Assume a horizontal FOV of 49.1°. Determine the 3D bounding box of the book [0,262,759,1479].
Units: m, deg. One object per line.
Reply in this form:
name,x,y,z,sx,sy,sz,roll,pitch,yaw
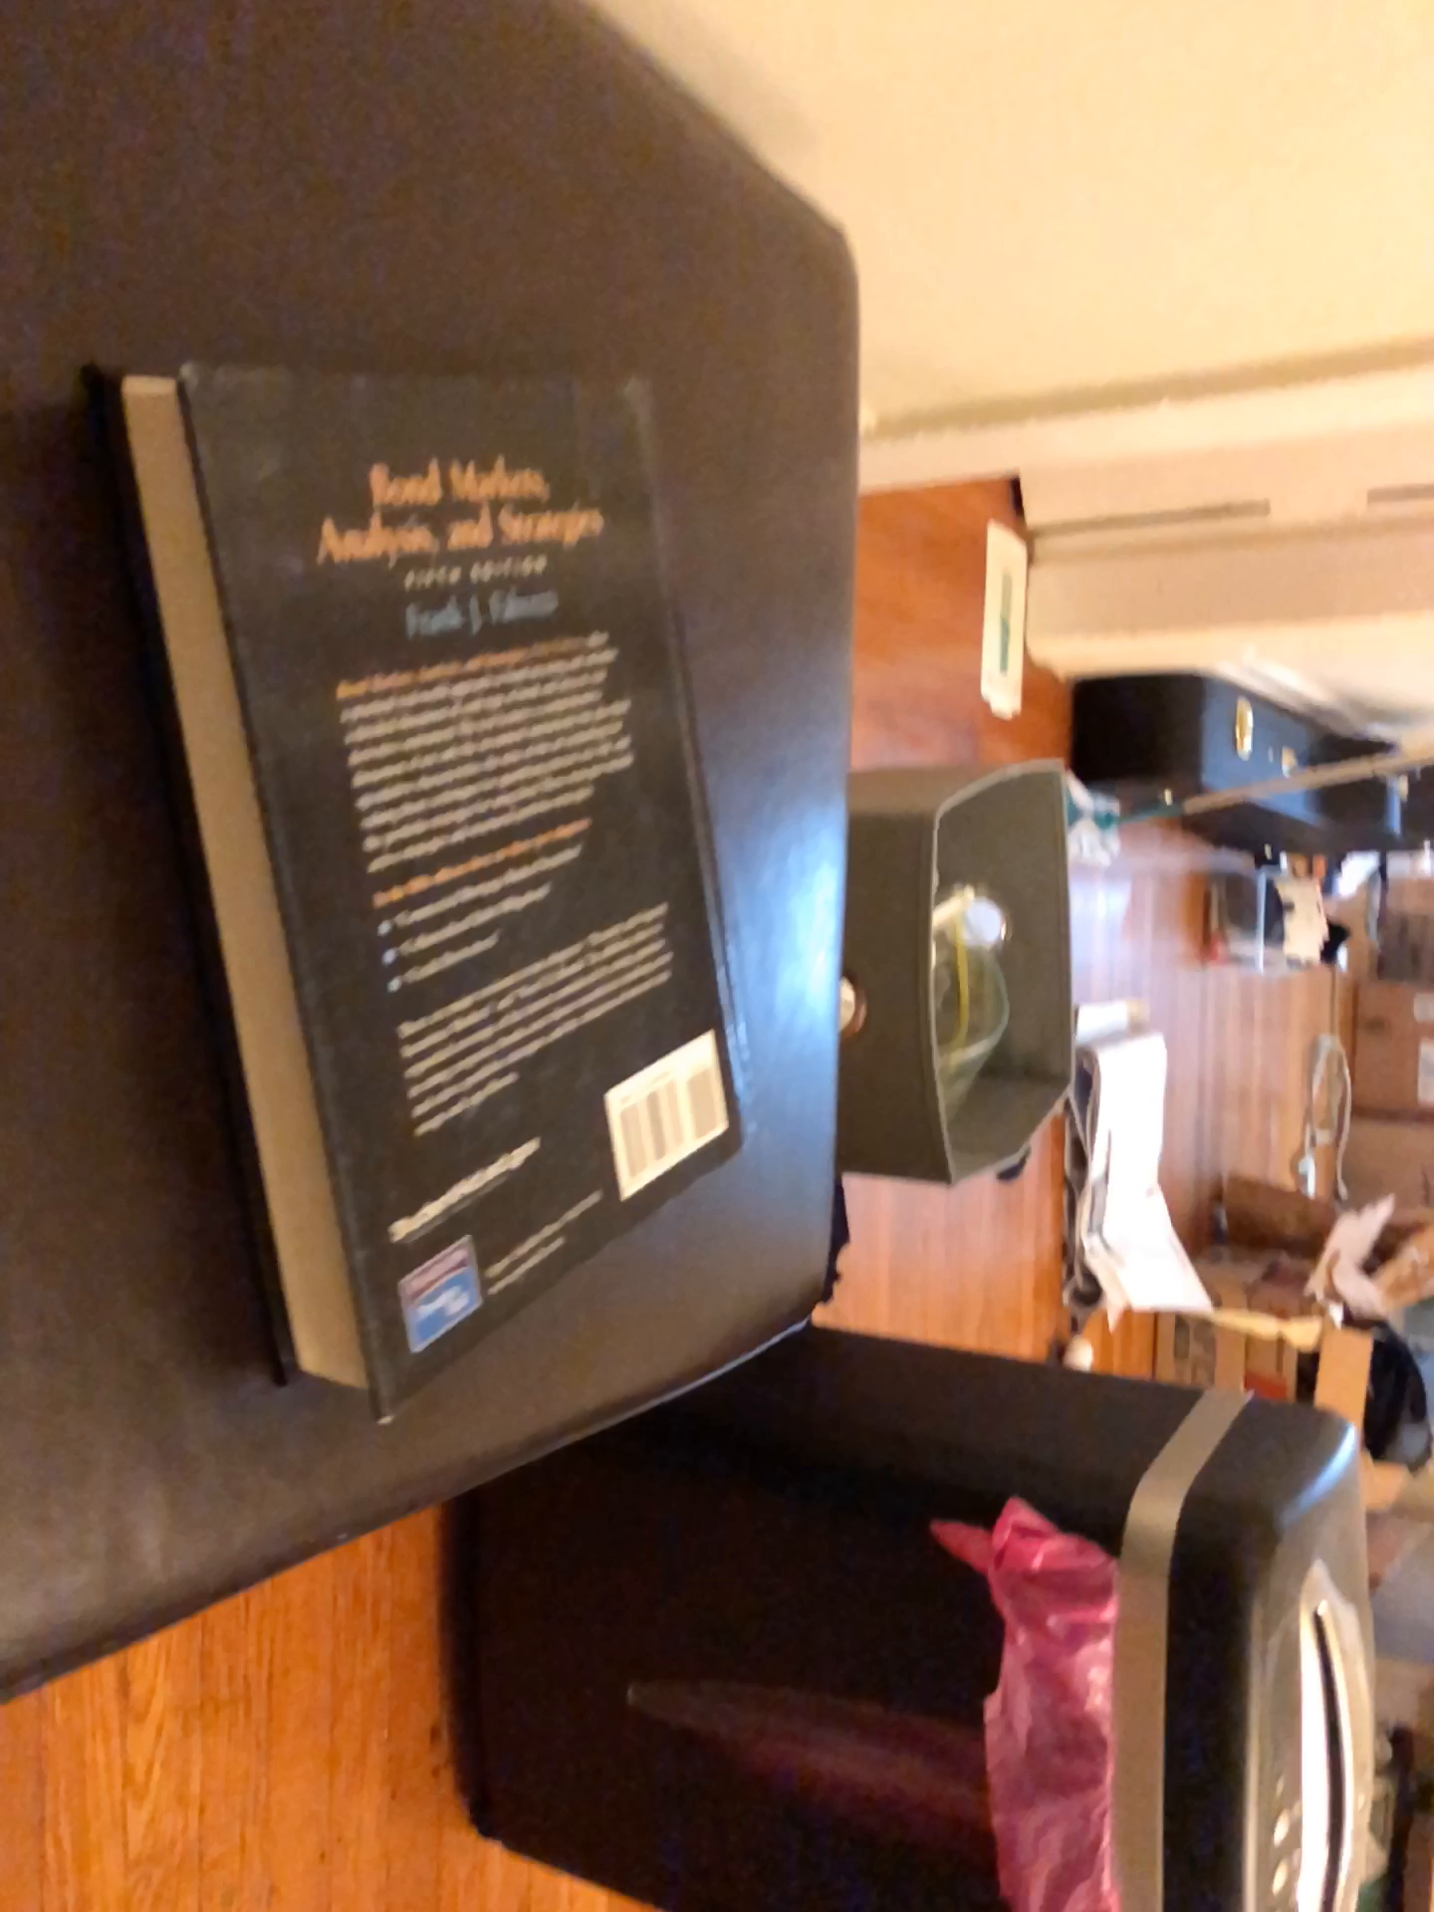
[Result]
book,-0.068,-0.033,0.419,0.201,0.040,0.260,-29,117,-55
